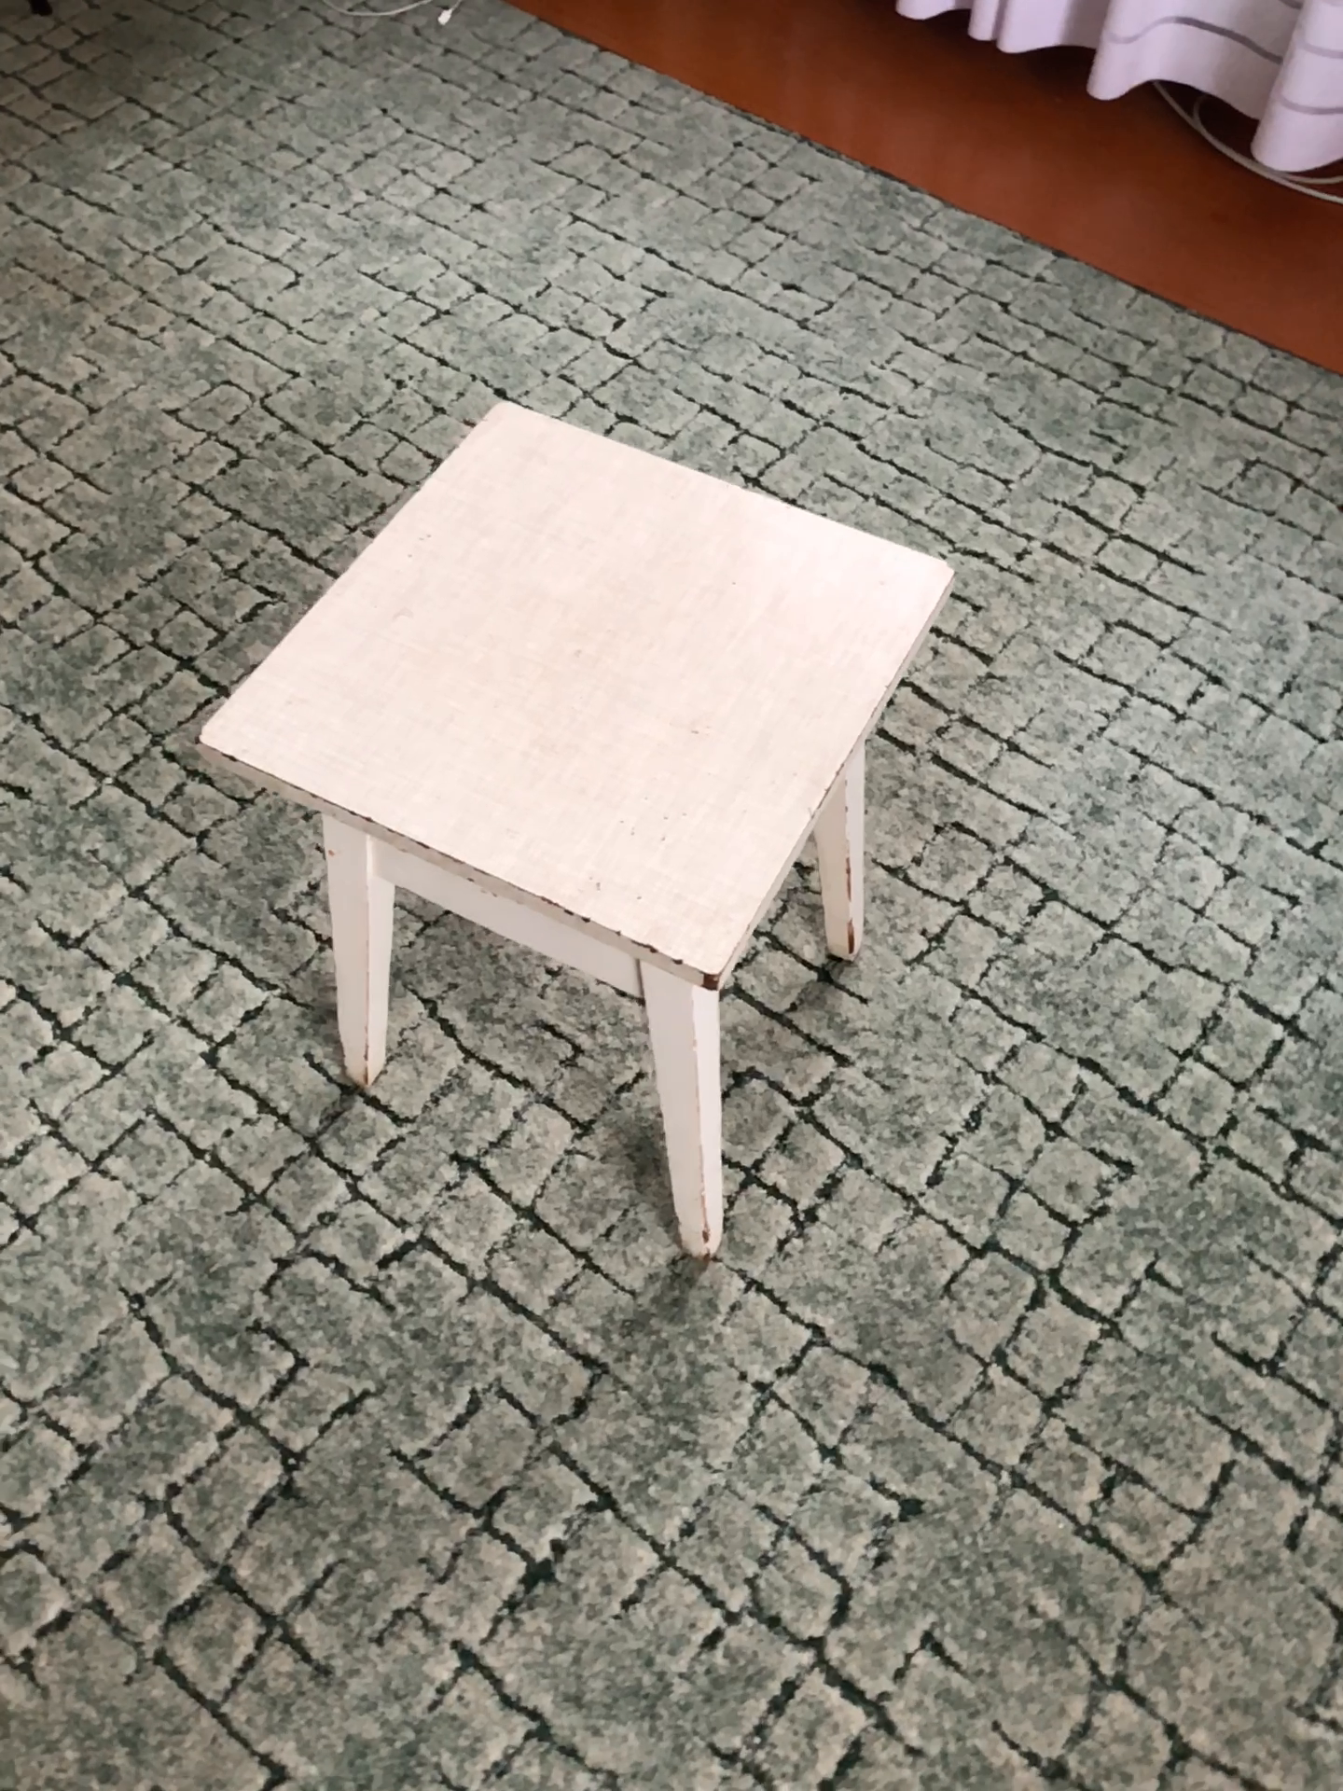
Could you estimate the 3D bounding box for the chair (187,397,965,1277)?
[{"bbox_3d":[-0.048,-0.022,1.047,0.332,0.447,0.336,24,60,14],"label":"chair"}]
